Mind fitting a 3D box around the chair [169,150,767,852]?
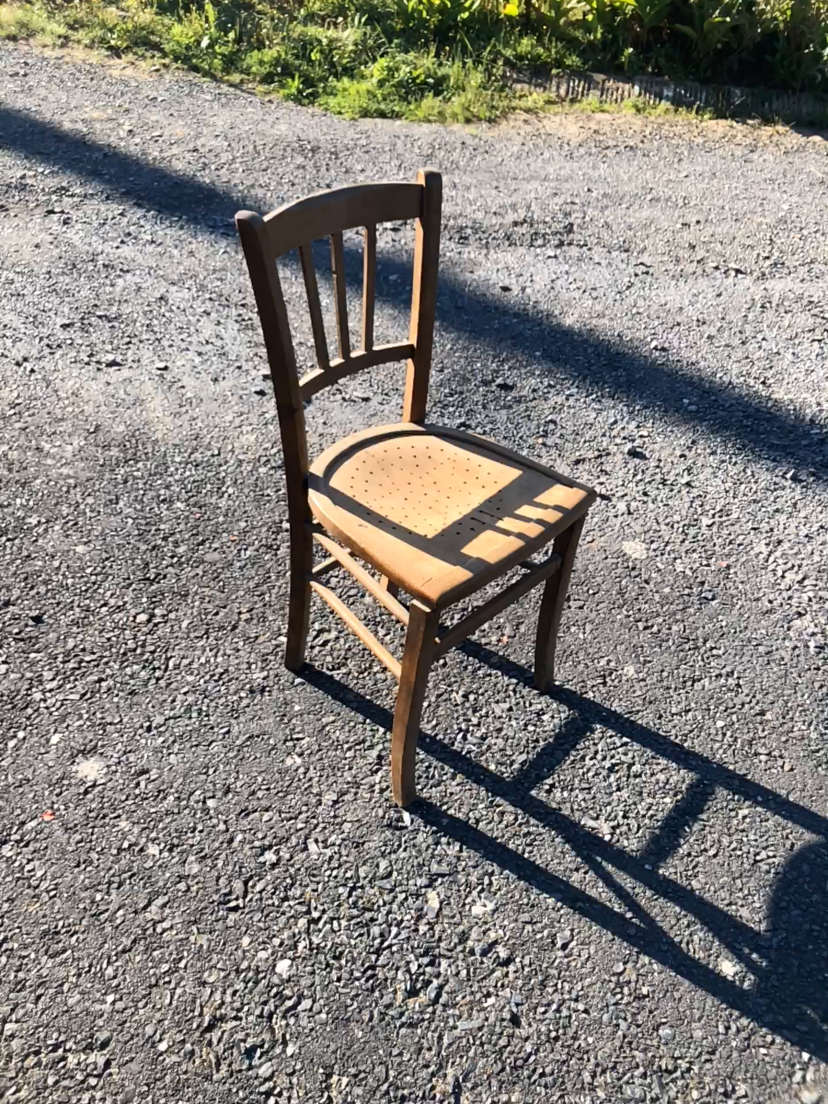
[{"bbox_3d":[0.023,-0.084,1.332,0.541,0.735,0.492,38,48,27],"label":"chair"}]
